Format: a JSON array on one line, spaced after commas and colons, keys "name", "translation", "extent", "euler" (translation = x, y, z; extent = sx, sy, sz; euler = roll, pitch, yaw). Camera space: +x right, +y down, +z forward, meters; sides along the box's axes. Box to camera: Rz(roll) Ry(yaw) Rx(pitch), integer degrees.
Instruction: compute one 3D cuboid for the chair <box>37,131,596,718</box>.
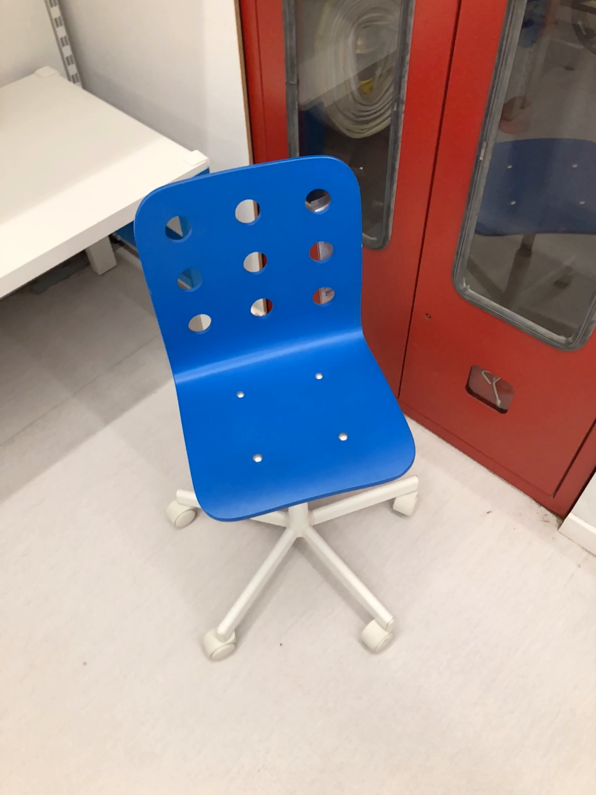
[{"name": "chair", "translation": [-0.011, 0.058, 1.047], "extent": [0.570, 0.626, 0.563], "euler": [-13, 52, -8]}]
